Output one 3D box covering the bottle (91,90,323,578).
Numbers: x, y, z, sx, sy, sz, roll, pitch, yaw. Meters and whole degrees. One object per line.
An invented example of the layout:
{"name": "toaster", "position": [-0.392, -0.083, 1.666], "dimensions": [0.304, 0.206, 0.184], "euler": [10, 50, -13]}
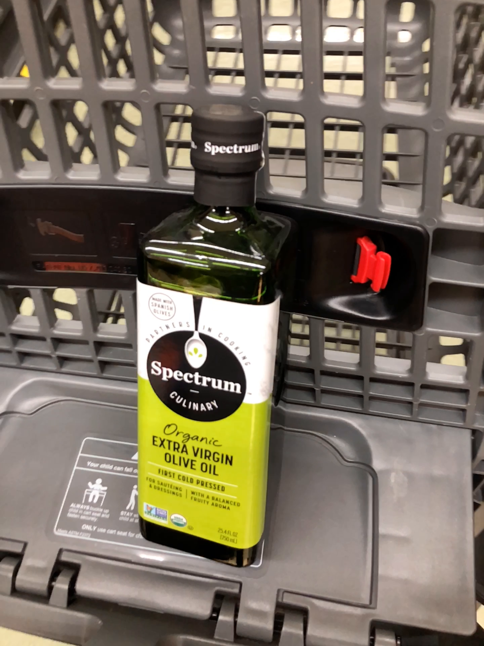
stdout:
{"name": "bottle", "position": [-0.017, 0.015, 0.293], "dimensions": [0.080, 0.250, 0.076], "euler": [3, 29, -2]}
